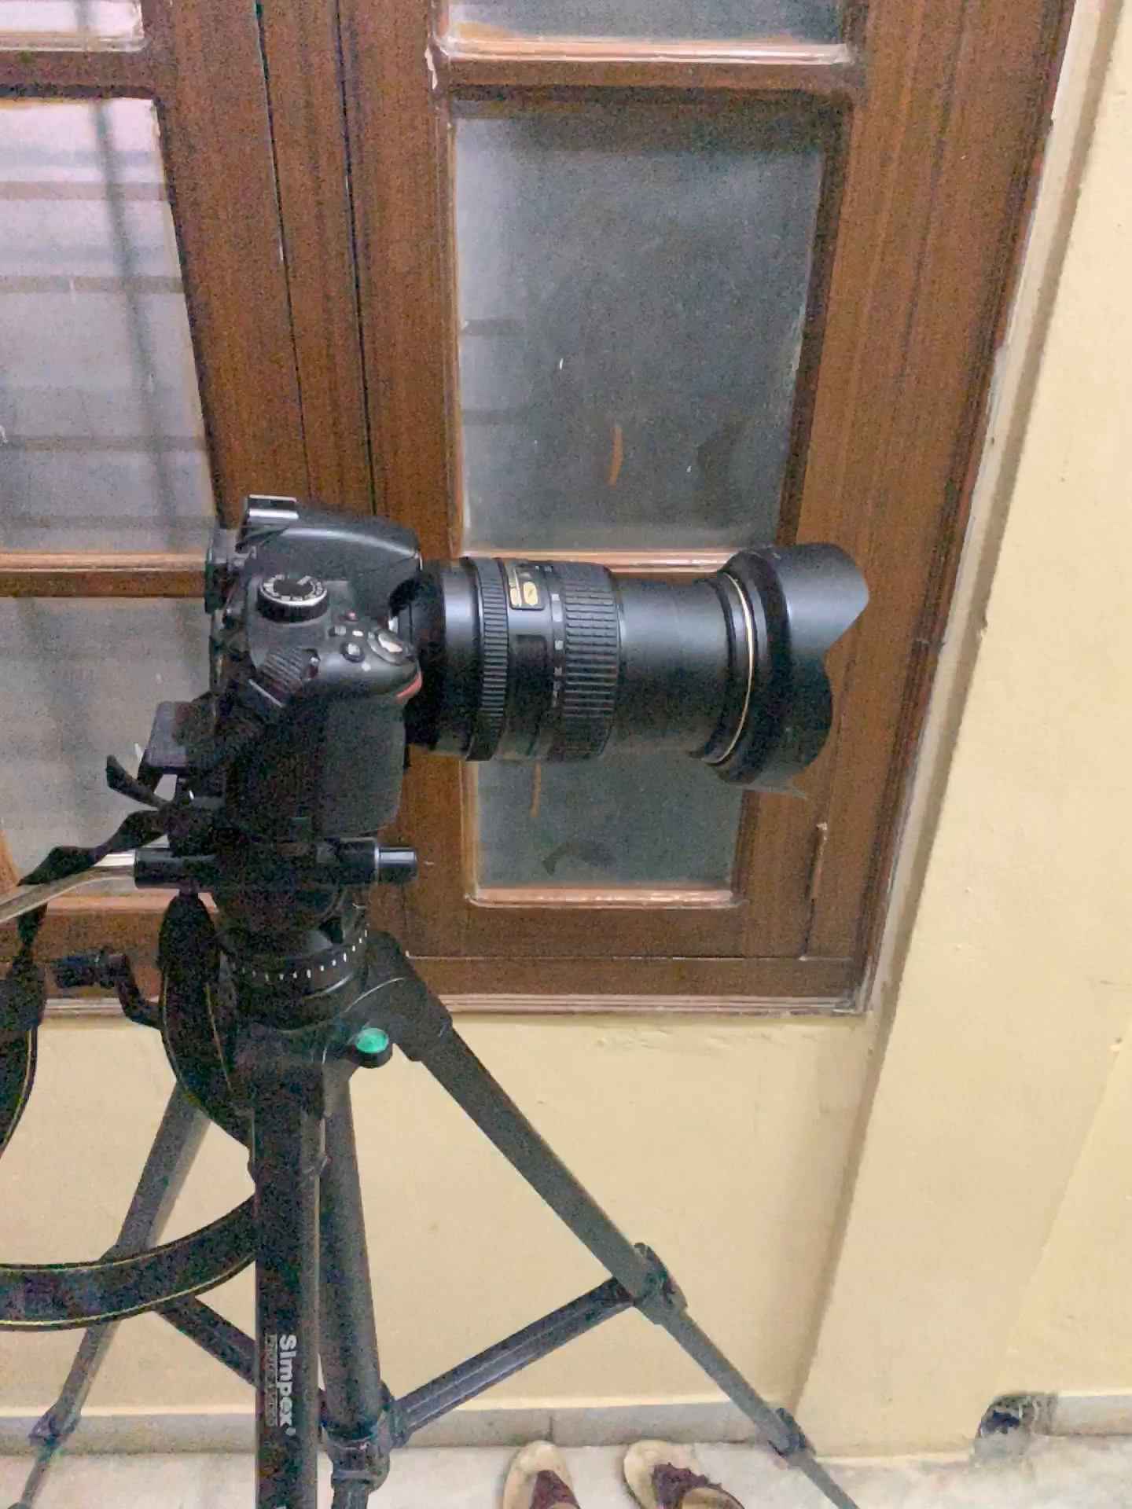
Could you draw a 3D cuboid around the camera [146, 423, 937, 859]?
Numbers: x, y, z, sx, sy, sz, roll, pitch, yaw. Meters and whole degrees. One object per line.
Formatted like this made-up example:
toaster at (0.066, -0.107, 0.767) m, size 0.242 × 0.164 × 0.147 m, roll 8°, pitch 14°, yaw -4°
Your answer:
camera at (-0.017, -0.046, 0.474) m, size 0.270 × 0.119 × 0.131 m, roll 2°, pitch 32°, yaw -11°
